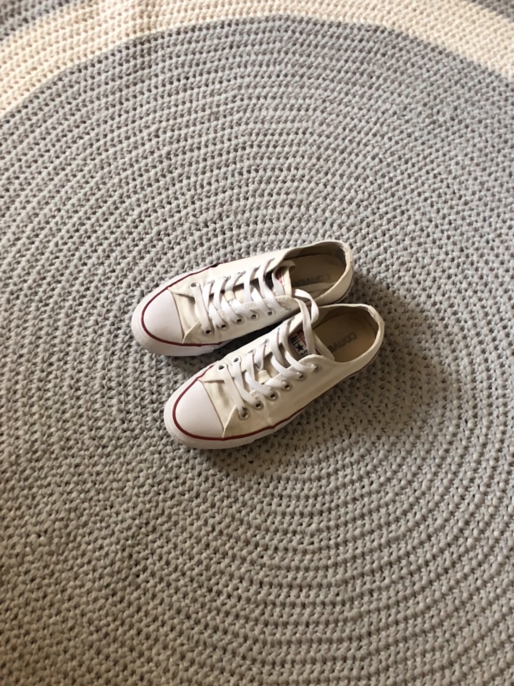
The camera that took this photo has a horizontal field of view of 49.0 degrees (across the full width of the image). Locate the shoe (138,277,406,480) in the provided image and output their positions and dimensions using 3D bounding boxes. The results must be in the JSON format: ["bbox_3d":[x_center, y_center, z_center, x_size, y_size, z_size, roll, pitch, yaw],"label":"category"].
[{"bbox_3d":[0.015,0.037,0.579,0.240,0.070,0.100,-26,77,-8],"label":"shoe"}]

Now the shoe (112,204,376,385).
[{"bbox_3d":[-0.013,-0.051,0.603,0.247,0.070,0.100,-20,76,-7],"label":"shoe"}]
